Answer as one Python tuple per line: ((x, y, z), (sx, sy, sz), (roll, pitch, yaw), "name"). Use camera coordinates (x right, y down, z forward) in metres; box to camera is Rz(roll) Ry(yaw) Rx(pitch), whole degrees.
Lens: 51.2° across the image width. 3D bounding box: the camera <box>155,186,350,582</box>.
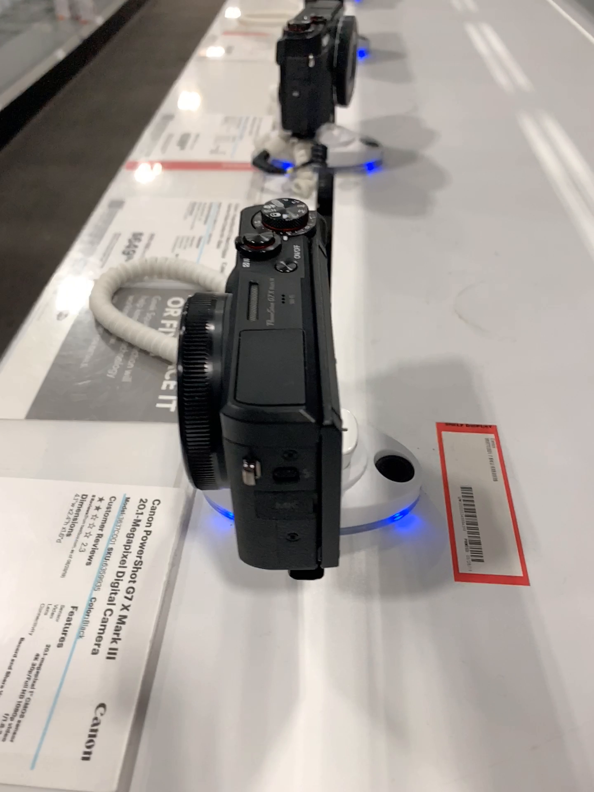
((-0.010, -0.010, 0.189), (0.040, 0.062, 0.111), (0, 44, 0), "camera")
